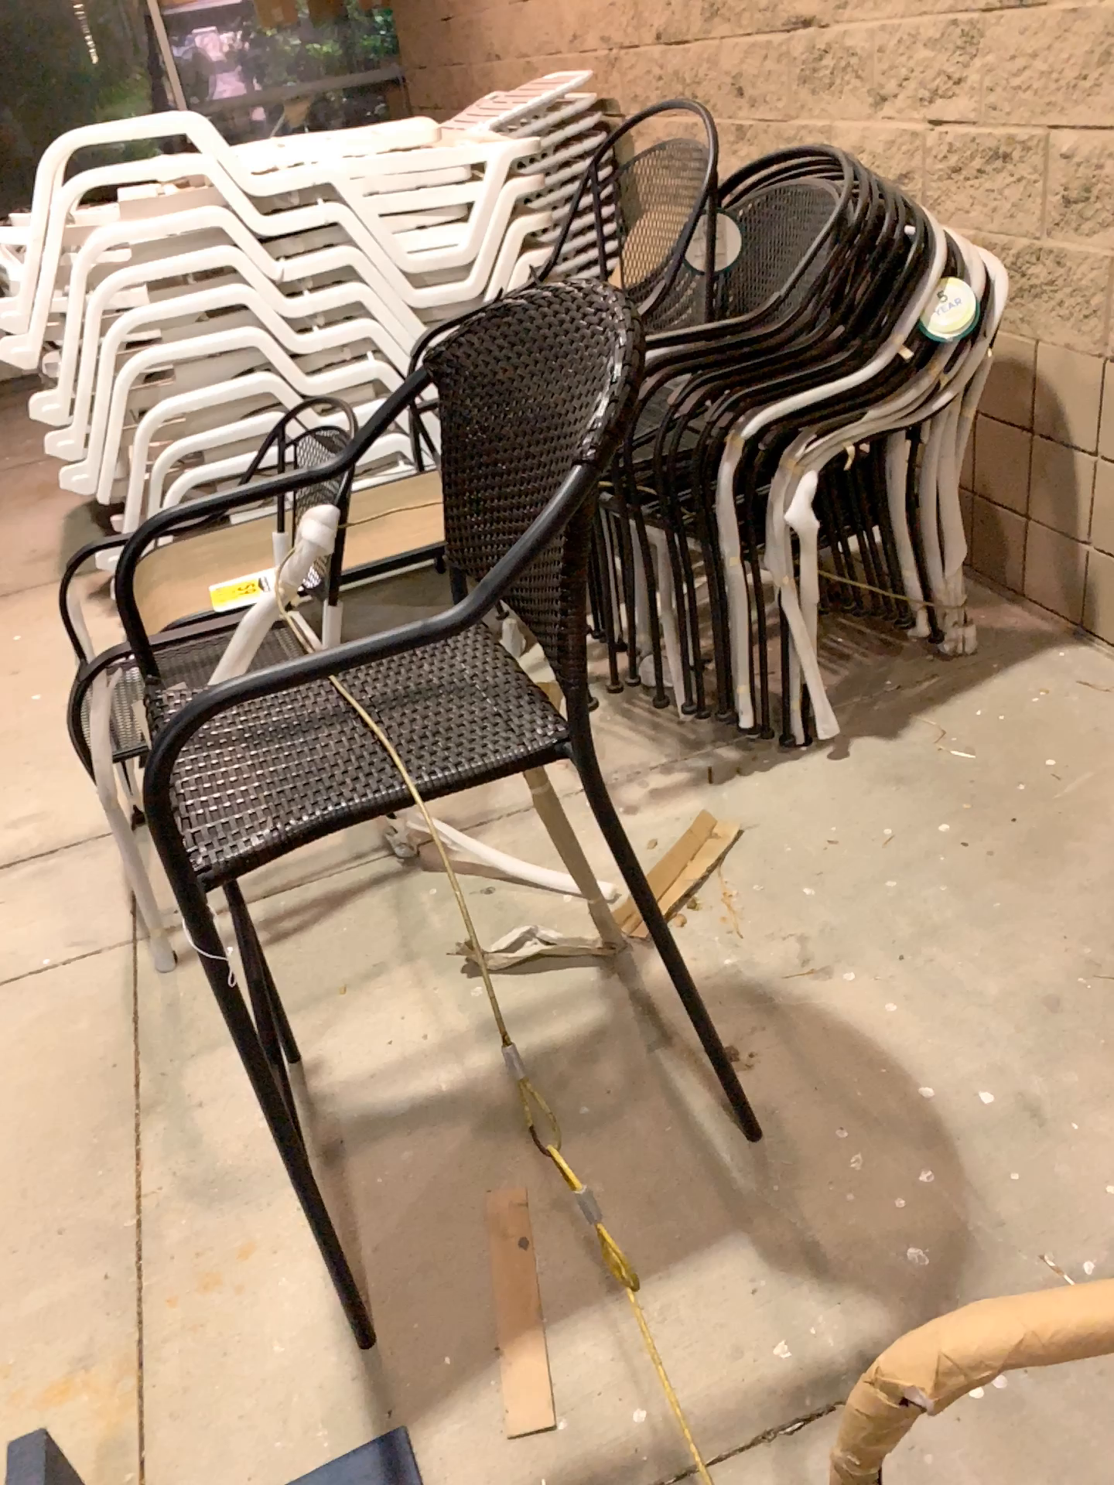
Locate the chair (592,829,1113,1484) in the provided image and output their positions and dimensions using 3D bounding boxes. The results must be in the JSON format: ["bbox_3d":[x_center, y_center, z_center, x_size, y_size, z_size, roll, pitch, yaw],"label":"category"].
[{"bbox_3d":[0.428,0.604,0.575,0.627,0.832,0.570,-12,32,0],"label":"chair"}]

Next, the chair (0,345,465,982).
[{"bbox_3d":[-0.631,-0.168,2.044,0.607,0.832,0.580,-21,33,-15],"label":"chair"}]

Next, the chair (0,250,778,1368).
[{"bbox_3d":[-0.178,0.079,1.393,0.607,1.101,0.560,-20,33,-12],"label":"chair"}]
